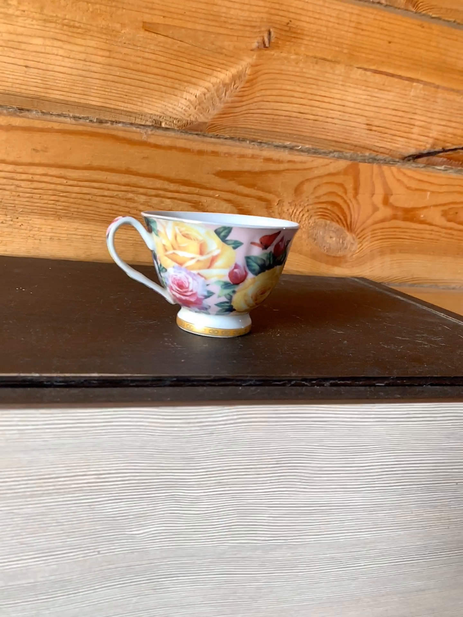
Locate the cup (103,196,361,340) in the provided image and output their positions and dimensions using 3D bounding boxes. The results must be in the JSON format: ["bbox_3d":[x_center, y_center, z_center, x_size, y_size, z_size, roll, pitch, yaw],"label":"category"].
[{"bbox_3d":[-0.009,-0.027,0.273,0.120,0.060,0.100,2,12,-16],"label":"cup"}]
